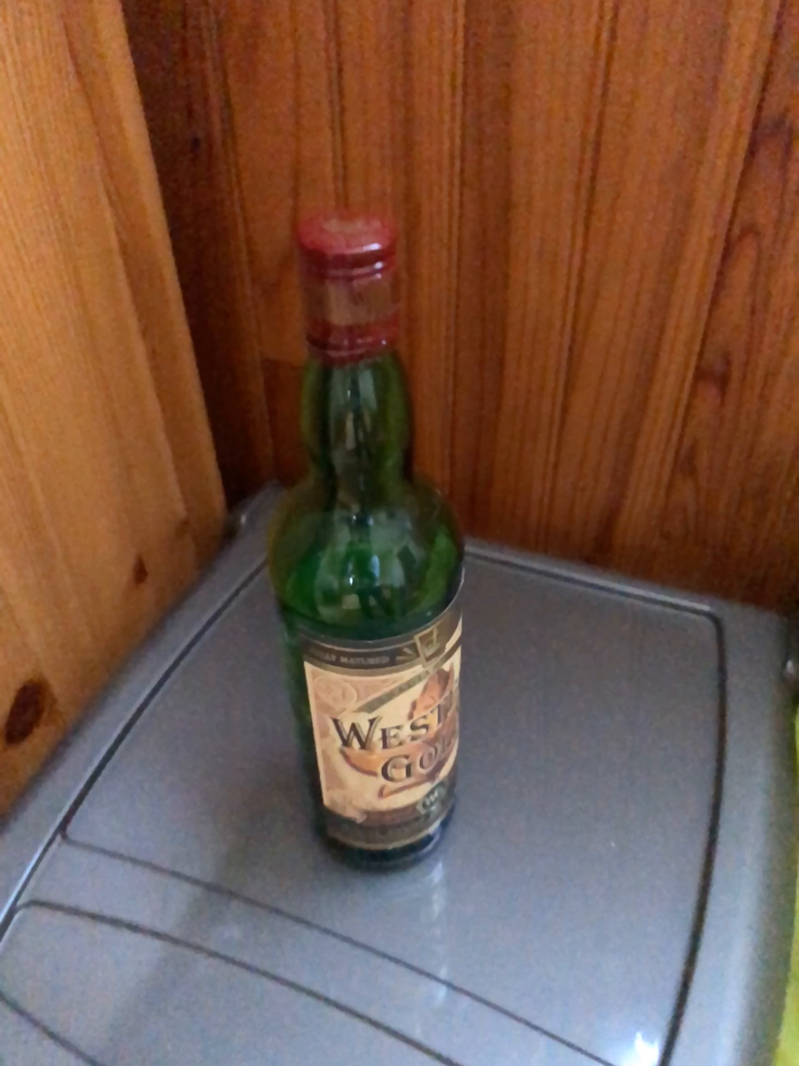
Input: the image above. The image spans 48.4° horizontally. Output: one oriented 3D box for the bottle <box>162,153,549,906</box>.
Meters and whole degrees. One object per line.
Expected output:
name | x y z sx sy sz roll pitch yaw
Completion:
bottle | -0.011 0.022 0.353 0.080 0.298 0.080 -1 41 1
